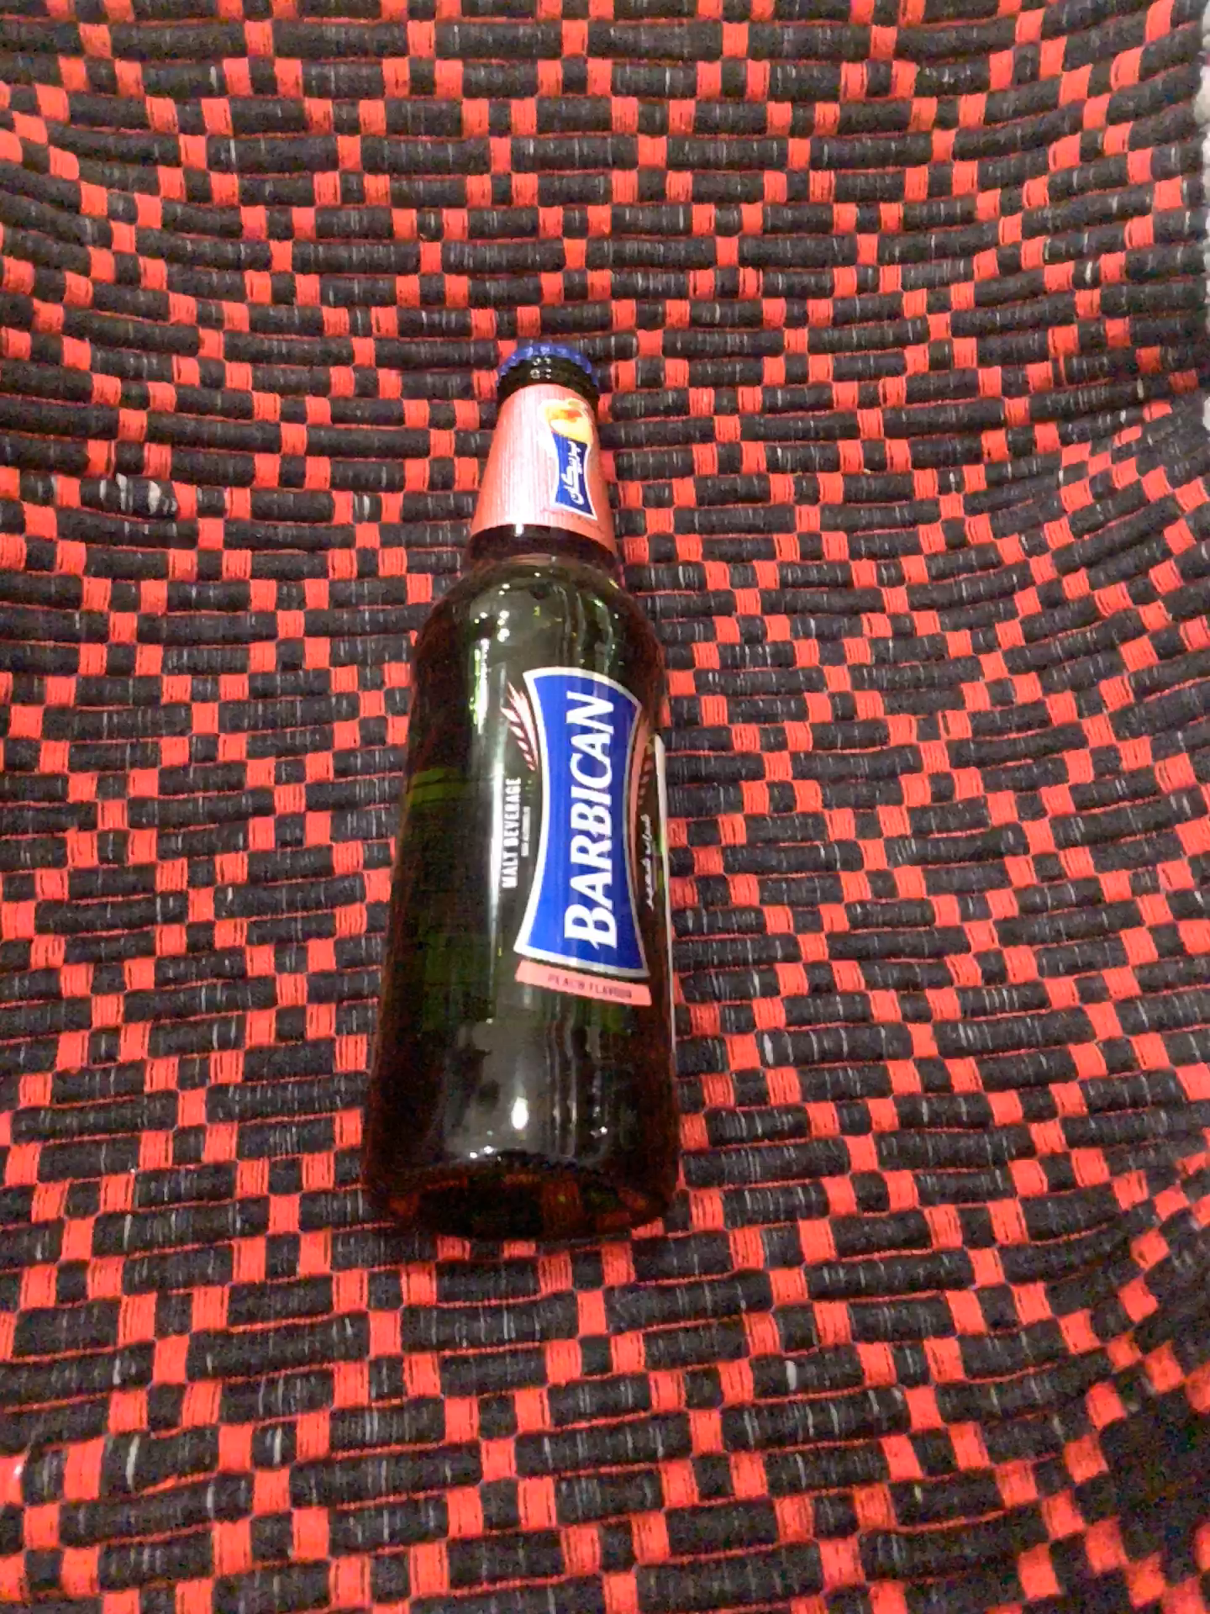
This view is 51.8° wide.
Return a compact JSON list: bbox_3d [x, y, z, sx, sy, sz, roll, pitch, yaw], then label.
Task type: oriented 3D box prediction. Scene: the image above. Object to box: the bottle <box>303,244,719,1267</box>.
[{"bbox_3d":[-0.015,-0.023,0.270,0.050,0.050,0.221,-21,52,29],"label":"bottle"}]
